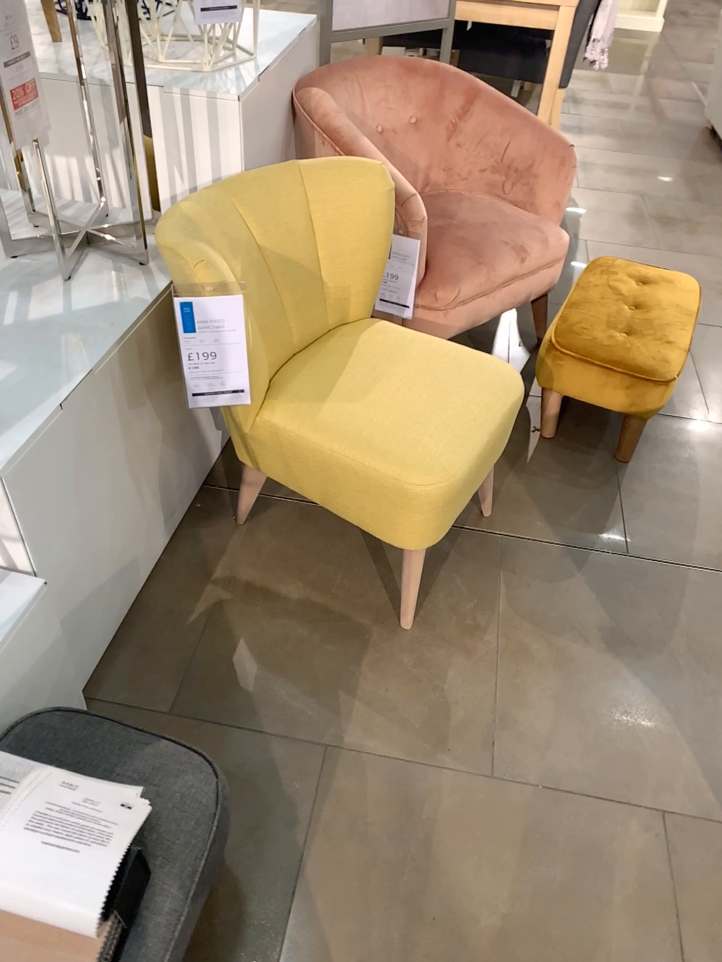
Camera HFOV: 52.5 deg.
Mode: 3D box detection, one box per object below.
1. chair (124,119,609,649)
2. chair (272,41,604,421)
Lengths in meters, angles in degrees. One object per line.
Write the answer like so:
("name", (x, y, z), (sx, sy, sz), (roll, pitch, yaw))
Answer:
("chair", (0.024, -0.222, 1.462), (0.587, 0.696, 0.611), (24, 46, 22))
("chair", (0.185, -0.738, 2.113), (0.588, 0.765, 0.620), (34, 50, 30))
